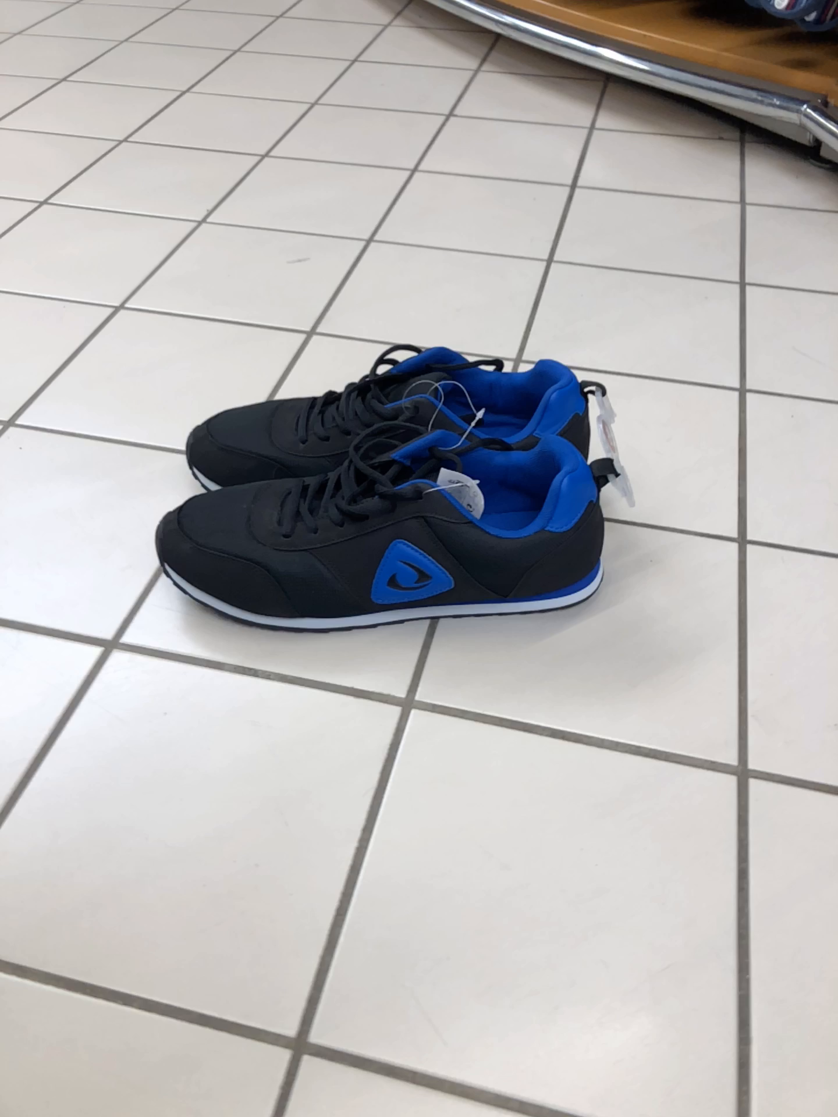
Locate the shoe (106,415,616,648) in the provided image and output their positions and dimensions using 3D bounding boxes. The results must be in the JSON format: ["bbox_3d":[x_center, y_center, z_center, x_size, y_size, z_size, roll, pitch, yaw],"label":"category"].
[{"bbox_3d":[-0.032,-0.017,0.598,0.290,0.109,0.101,0,44,1],"label":"shoe"}]

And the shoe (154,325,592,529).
[{"bbox_3d":[-0.029,-0.098,0.684,0.290,0.109,0.101,0,44,1],"label":"shoe"}]
